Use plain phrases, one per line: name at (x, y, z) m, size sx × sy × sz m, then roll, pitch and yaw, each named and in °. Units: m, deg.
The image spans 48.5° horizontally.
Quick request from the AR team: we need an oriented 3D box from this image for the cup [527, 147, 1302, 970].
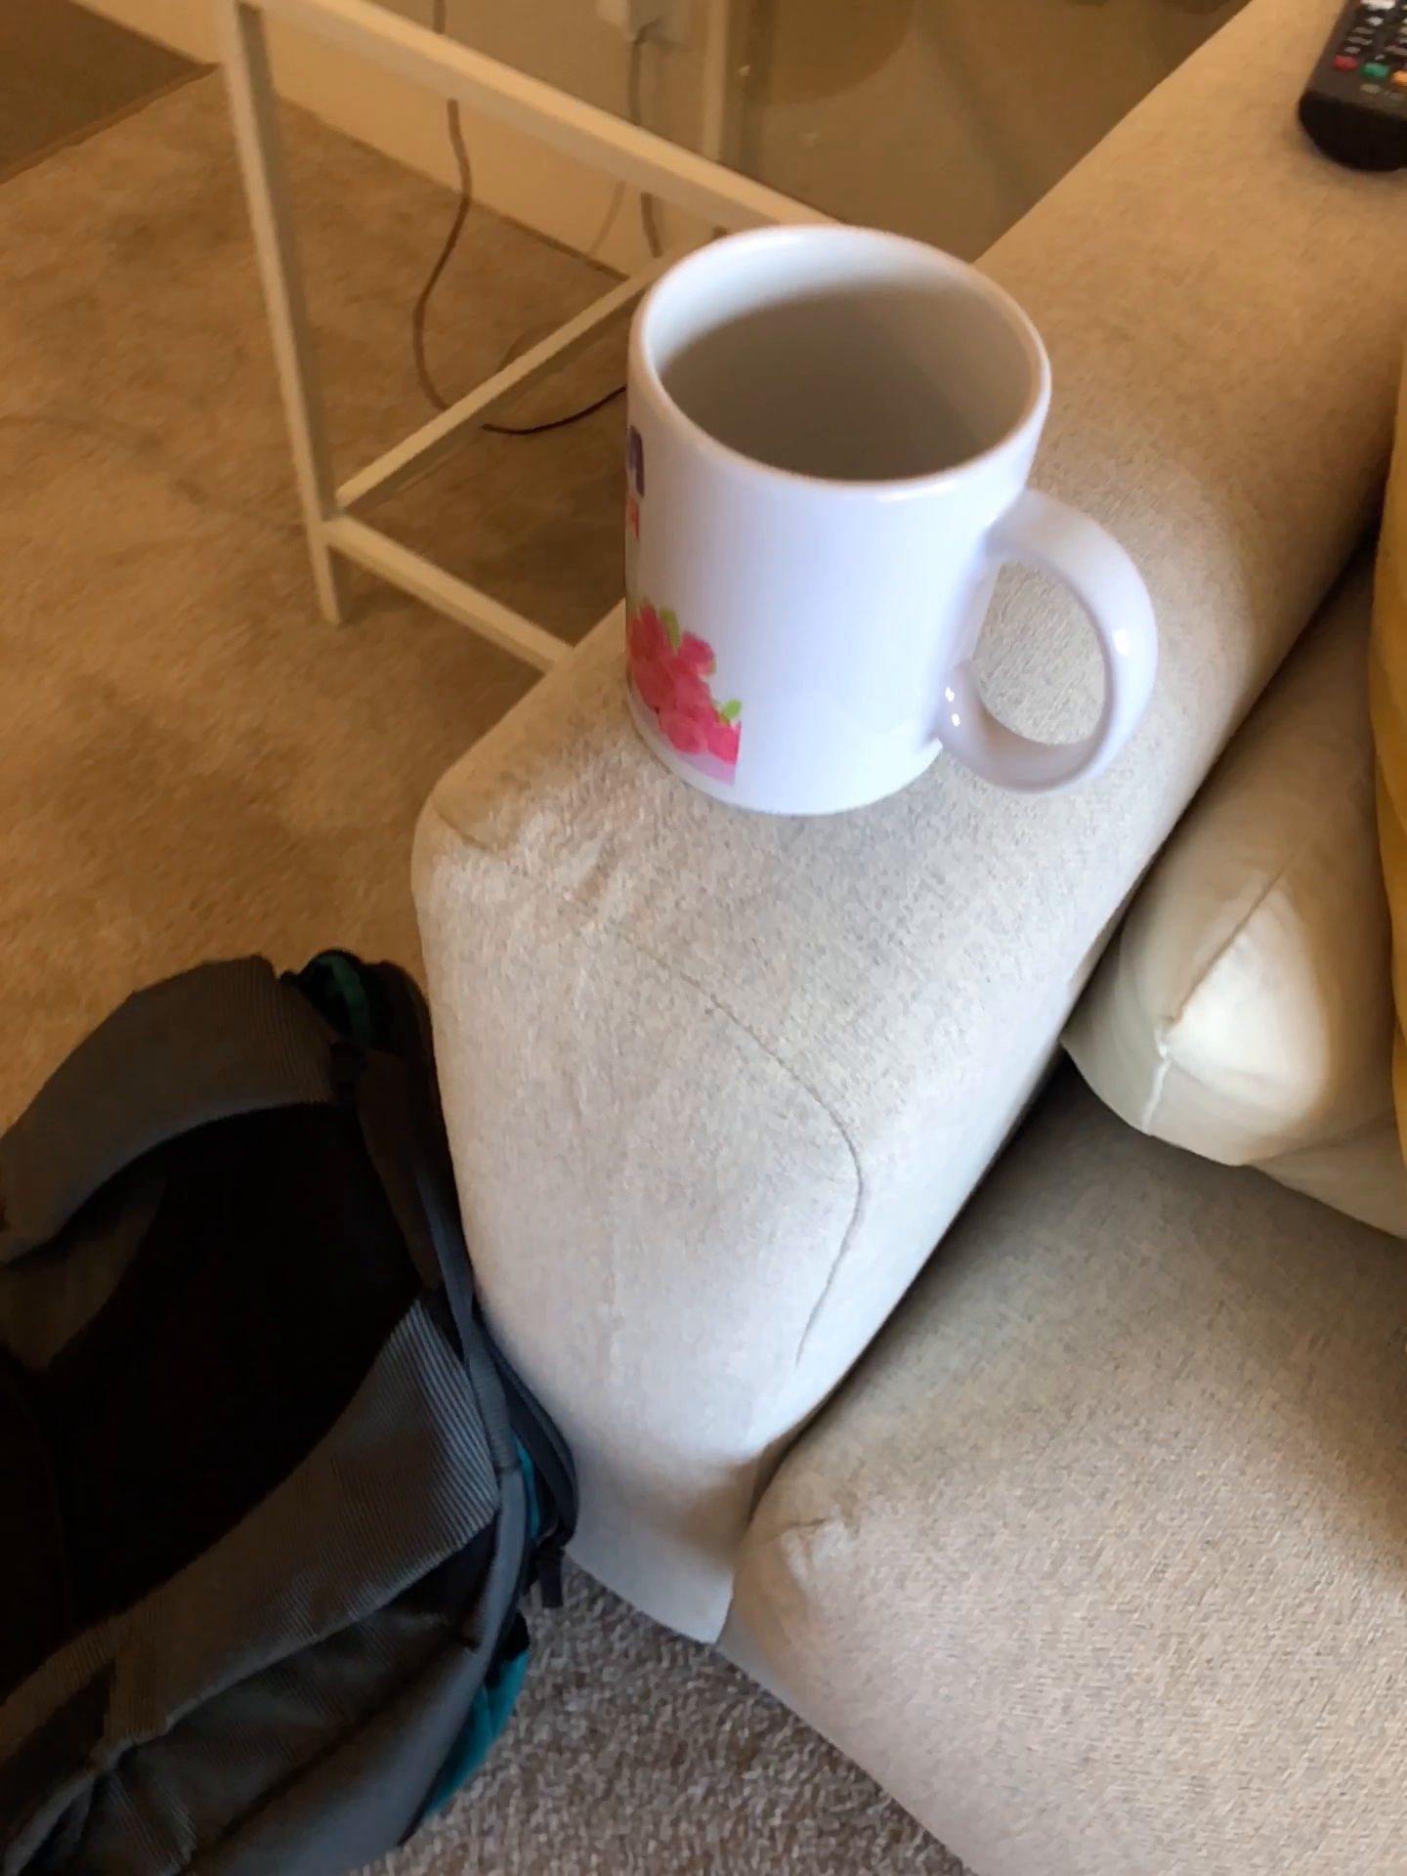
cup at (0.035, -0.079, 0.330) m, size 0.120 × 0.100 × 0.080 m, roll 36°, pitch 60°, yaw 19°
